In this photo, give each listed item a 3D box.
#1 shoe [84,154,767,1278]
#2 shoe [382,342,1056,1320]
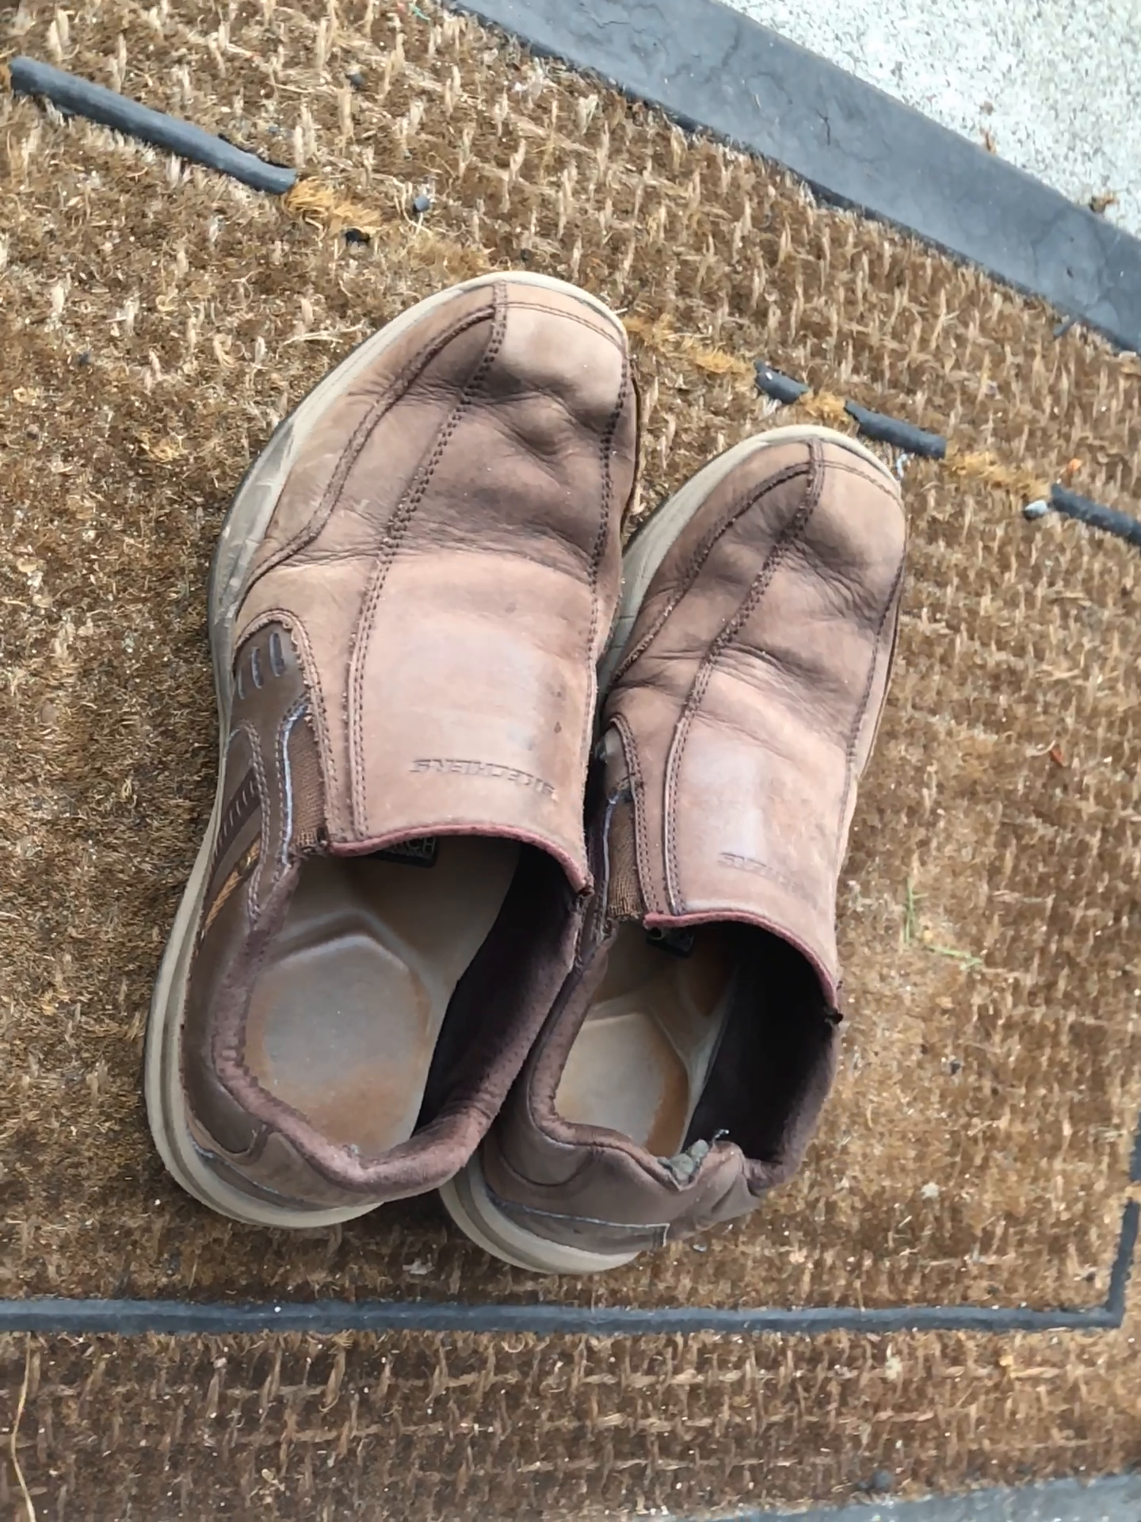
[{"bbox_3d":[-0.046,-0.008,0.363,0.100,0.100,0.267,17,87,-26],"label":"shoe"},{"bbox_3d":[0.043,0.020,0.393,0.100,0.100,0.254,20,85,-26],"label":"shoe"}]
